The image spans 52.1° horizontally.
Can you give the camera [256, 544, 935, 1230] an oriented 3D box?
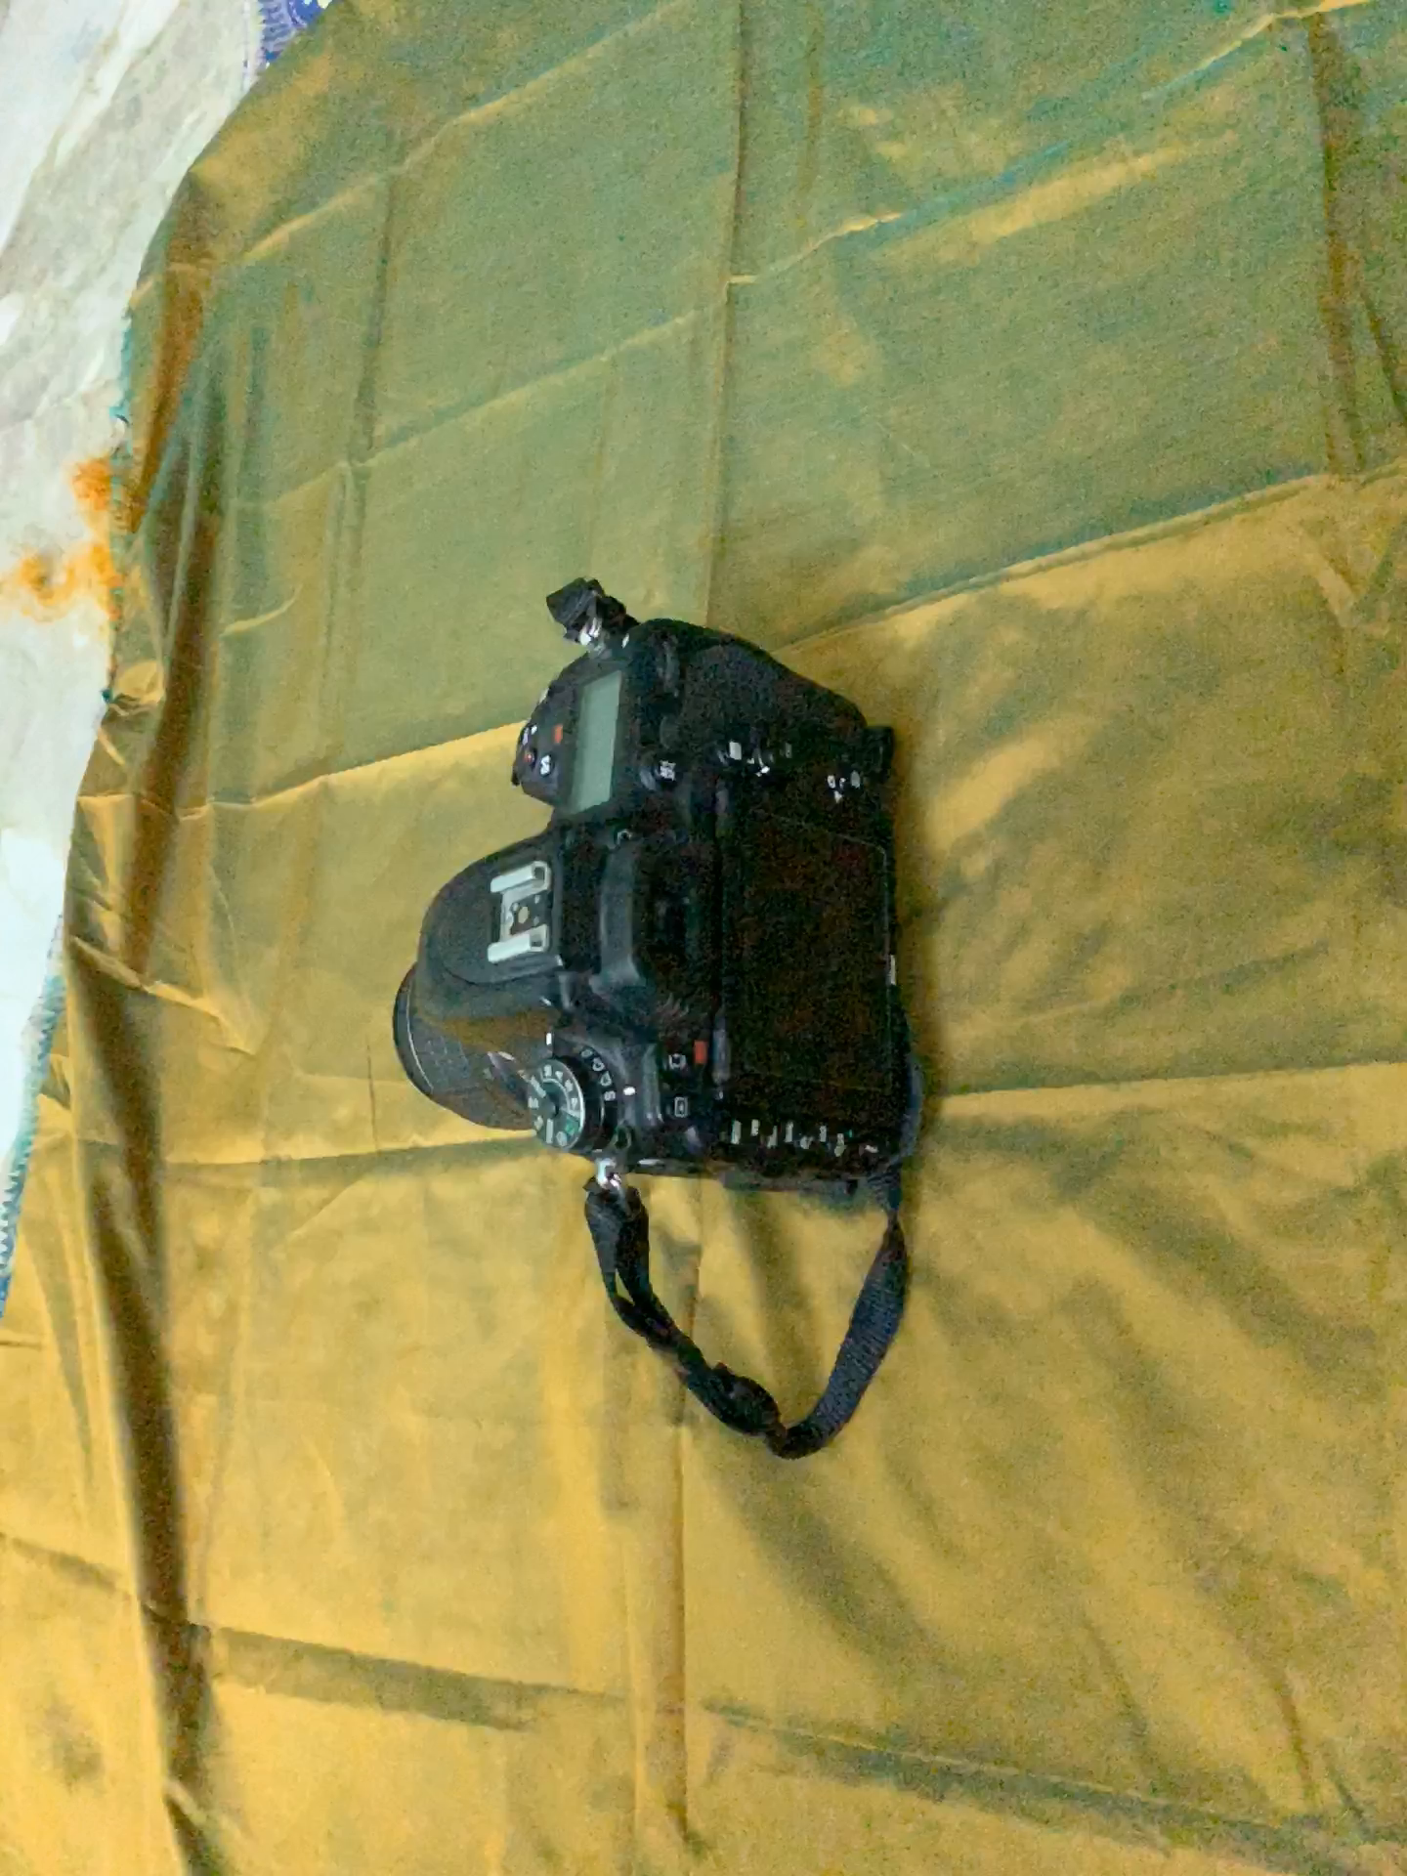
[{"bbox_3d":[-0.028,0.002,0.388,0.132,0.120,0.135,-17,64,49],"label":"camera"}]
